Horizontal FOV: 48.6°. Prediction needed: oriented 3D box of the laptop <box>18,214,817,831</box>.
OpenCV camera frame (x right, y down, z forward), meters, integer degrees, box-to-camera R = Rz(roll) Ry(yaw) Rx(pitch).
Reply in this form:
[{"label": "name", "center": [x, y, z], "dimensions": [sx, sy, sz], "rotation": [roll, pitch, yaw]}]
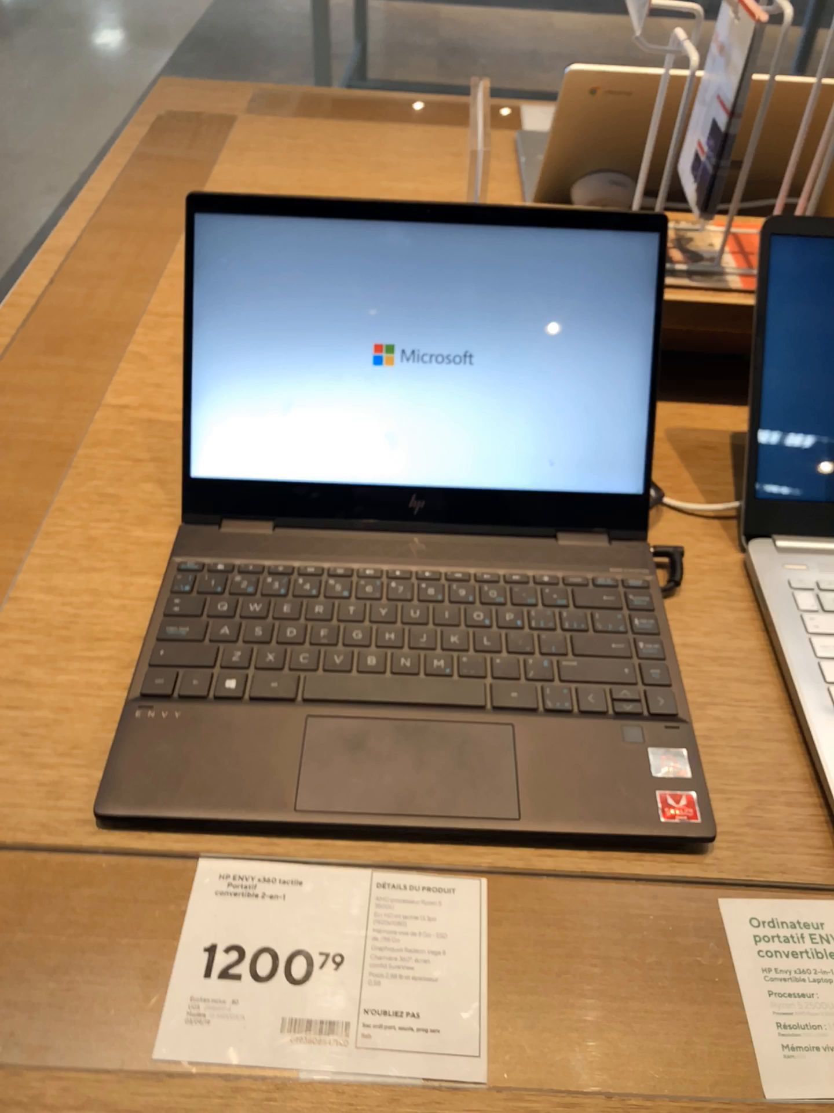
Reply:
[{"label": "laptop", "center": [0.001, -0.038, 0.510], "dimensions": [0.293, 0.162, 0.319], "rotation": [2, 43, -1]}]
